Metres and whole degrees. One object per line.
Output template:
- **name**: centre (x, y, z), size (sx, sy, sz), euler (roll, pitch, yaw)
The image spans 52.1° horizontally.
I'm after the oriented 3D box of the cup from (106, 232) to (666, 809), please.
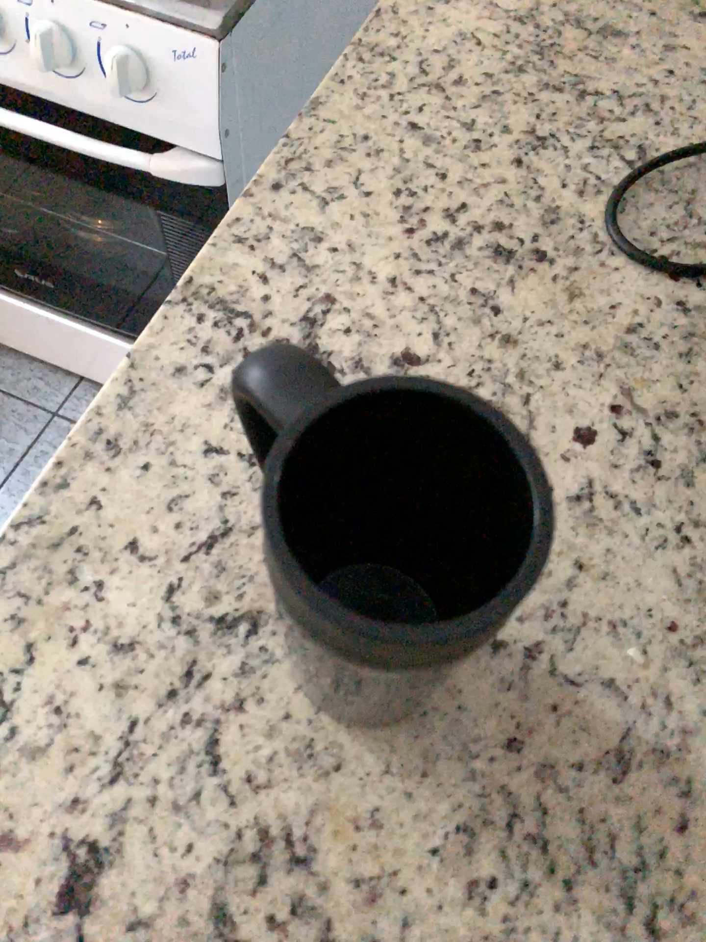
- **cup**: centre (0.001, 0.027, 0.237), size (0.080, 0.140, 0.120), euler (-32, 69, -18)
